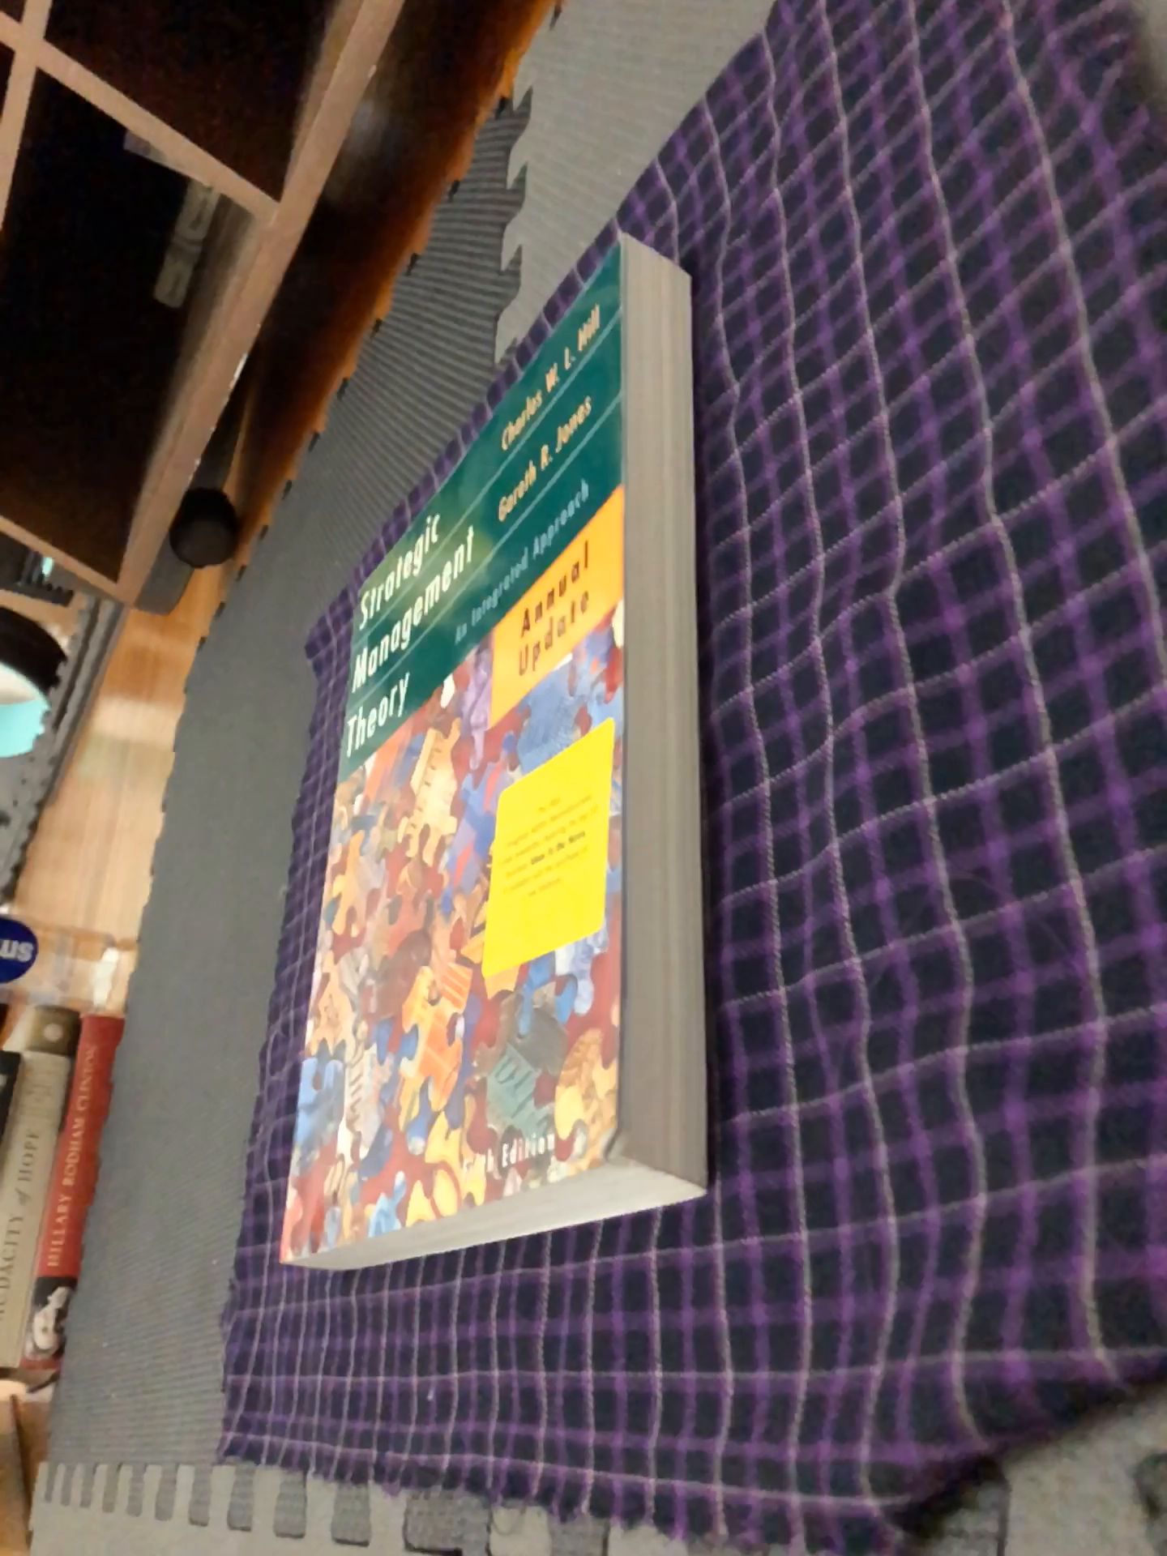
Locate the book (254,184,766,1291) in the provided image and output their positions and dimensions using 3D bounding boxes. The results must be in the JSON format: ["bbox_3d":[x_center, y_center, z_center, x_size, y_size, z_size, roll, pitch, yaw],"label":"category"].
[{"bbox_3d":[-0.036,0.004,0.406,0.231,0.040,0.281,-38,46,52],"label":"book"}]
